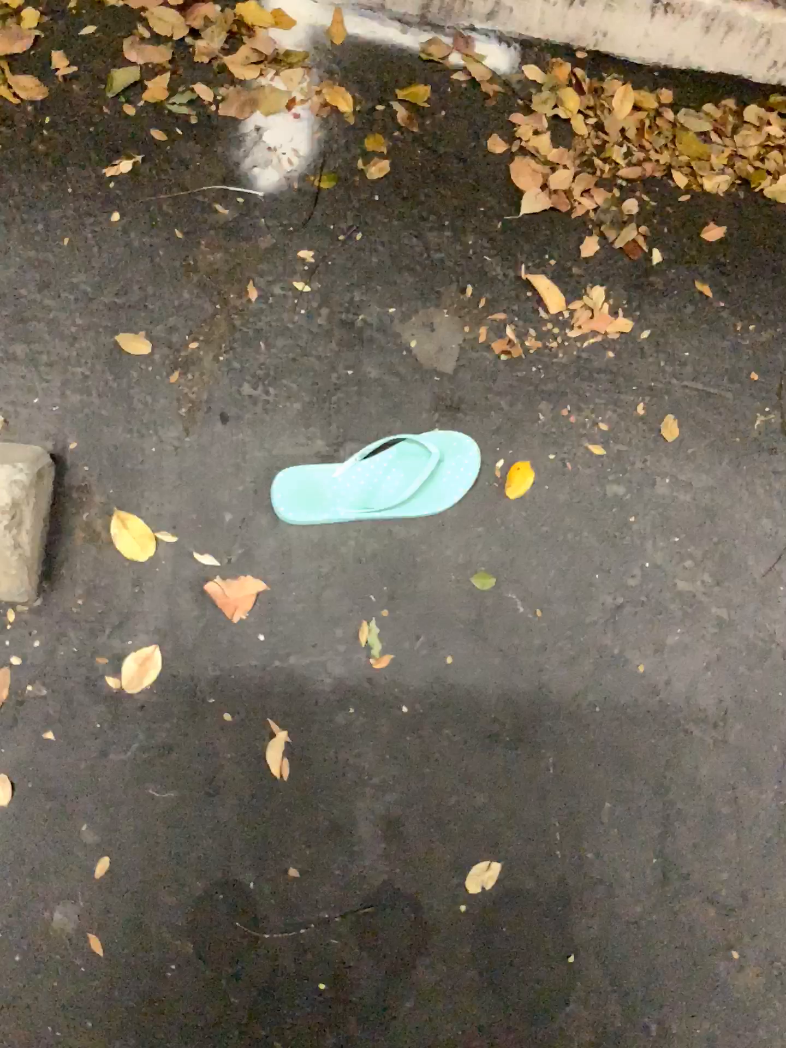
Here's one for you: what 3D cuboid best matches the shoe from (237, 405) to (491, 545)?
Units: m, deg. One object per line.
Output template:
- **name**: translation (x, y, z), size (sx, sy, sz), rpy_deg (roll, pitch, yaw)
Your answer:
- **shoe**: translation (-0.035, -0.061, 1.042), size (0.280, 0.050, 0.120), rpy_deg (-9, 72, -15)
